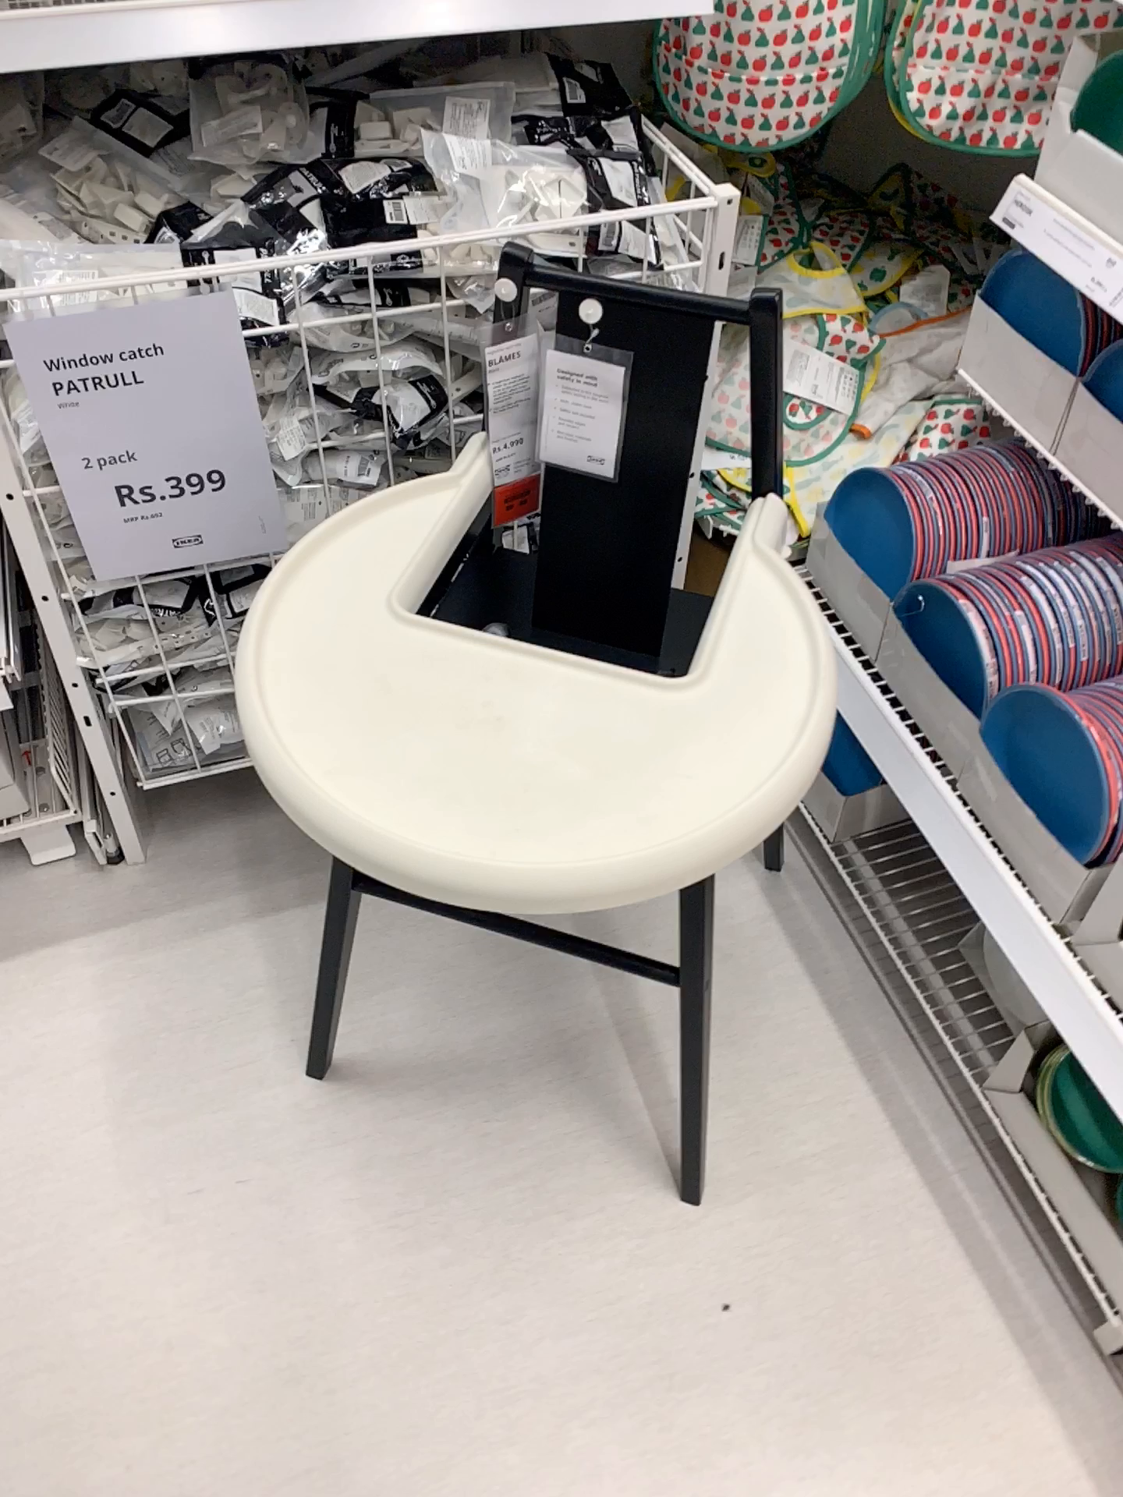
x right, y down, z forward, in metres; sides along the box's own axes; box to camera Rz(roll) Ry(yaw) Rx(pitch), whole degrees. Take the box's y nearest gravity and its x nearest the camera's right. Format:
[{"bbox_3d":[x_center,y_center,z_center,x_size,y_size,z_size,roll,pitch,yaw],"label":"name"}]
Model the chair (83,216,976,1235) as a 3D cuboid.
[{"bbox_3d":[0.012,0.006,1.164,0.530,0.778,0.552,15,50,11],"label":"chair"}]
